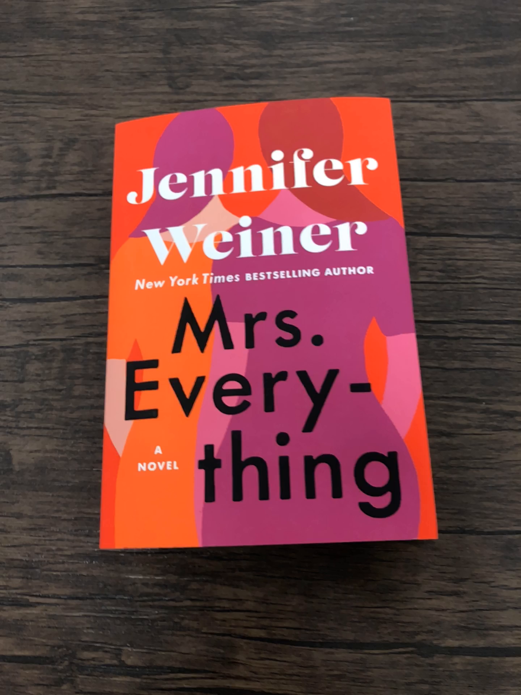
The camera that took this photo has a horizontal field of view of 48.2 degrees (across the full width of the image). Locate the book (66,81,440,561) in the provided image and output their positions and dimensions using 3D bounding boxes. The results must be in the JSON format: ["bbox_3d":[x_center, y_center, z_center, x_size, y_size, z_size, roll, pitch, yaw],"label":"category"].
[{"bbox_3d":[-0.007,-0.017,0.302,0.161,0.047,0.232,-3,75,3],"label":"book"}]
